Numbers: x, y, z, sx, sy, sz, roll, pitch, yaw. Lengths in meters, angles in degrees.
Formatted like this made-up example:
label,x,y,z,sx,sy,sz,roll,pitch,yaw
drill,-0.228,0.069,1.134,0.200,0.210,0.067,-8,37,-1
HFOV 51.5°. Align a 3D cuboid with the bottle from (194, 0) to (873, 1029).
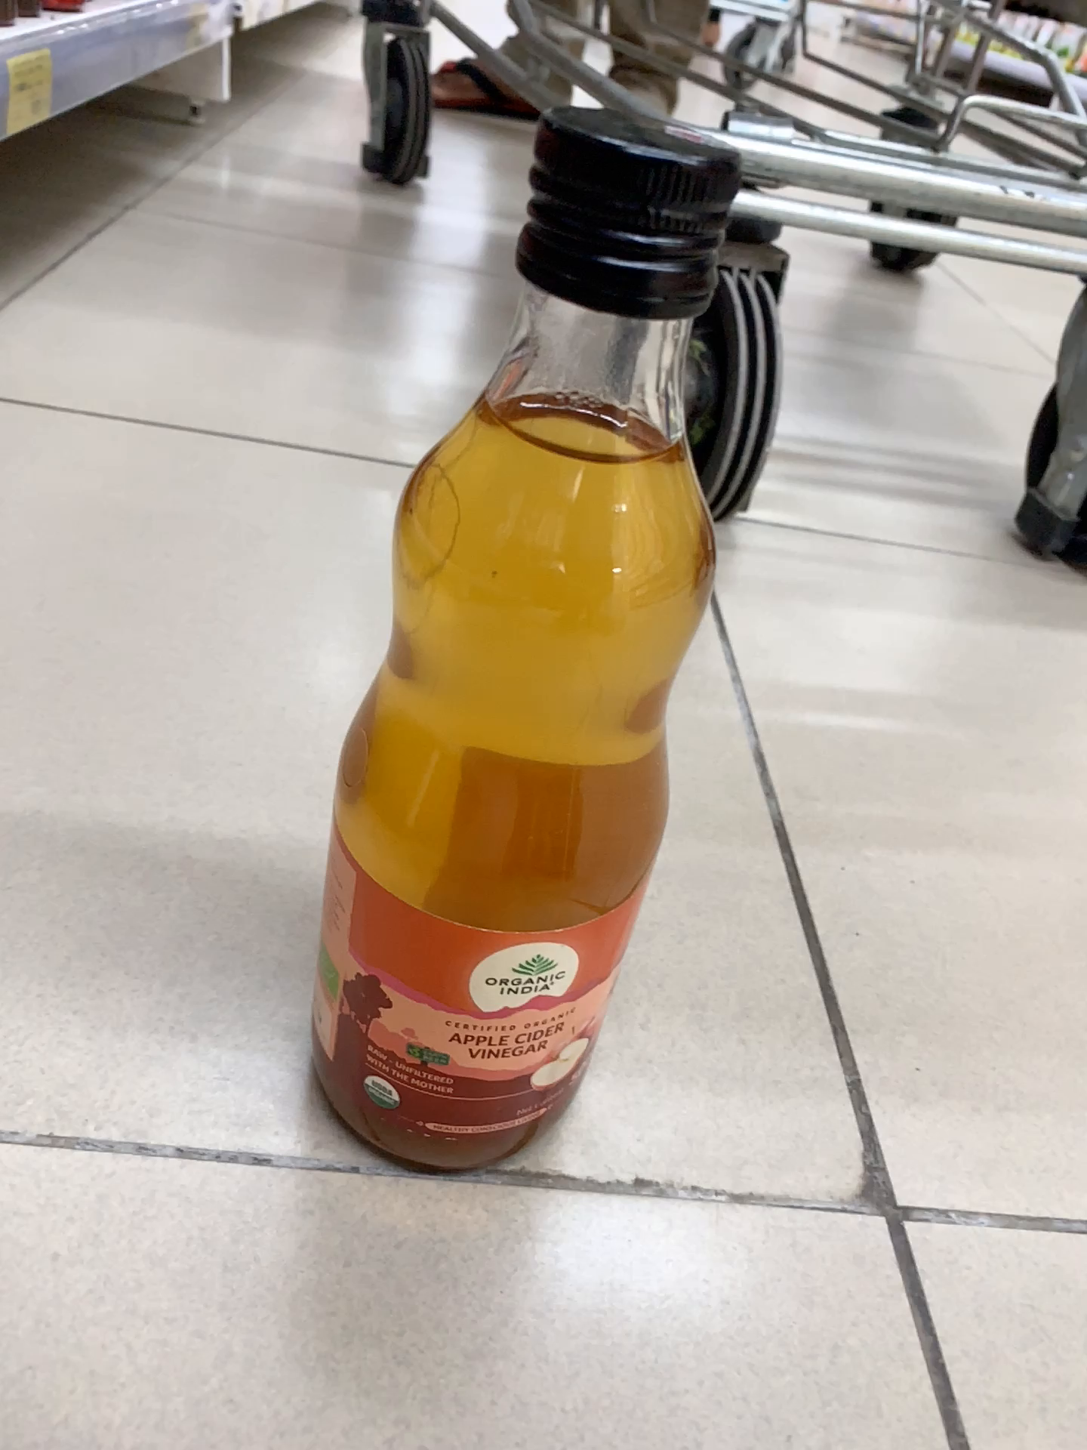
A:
label,x,y,z,sx,sy,sz,roll,pitch,yaw
bottle,-0.020,-0.032,0.229,0.080,0.209,0.080,6,43,-6
